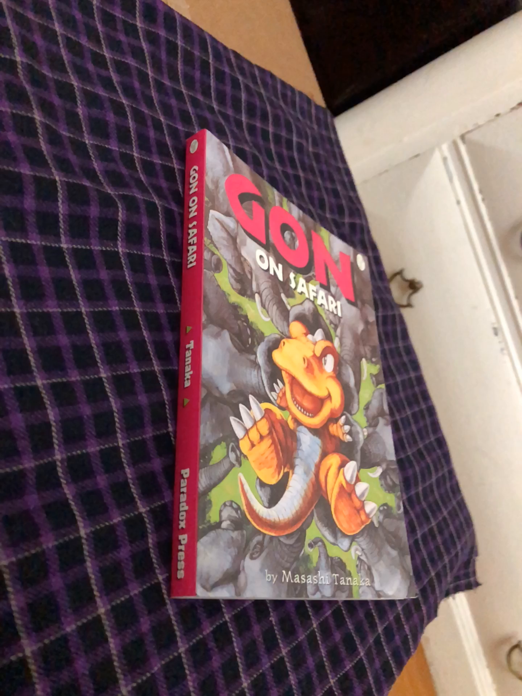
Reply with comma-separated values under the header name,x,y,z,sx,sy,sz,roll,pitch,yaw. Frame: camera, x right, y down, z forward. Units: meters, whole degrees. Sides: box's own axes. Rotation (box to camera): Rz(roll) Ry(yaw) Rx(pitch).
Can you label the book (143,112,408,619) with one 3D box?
name,x,y,z,sx,sy,sz,roll,pitch,yaw
book,0.014,0.013,0.280,0.151,0.020,0.210,27,52,-45
